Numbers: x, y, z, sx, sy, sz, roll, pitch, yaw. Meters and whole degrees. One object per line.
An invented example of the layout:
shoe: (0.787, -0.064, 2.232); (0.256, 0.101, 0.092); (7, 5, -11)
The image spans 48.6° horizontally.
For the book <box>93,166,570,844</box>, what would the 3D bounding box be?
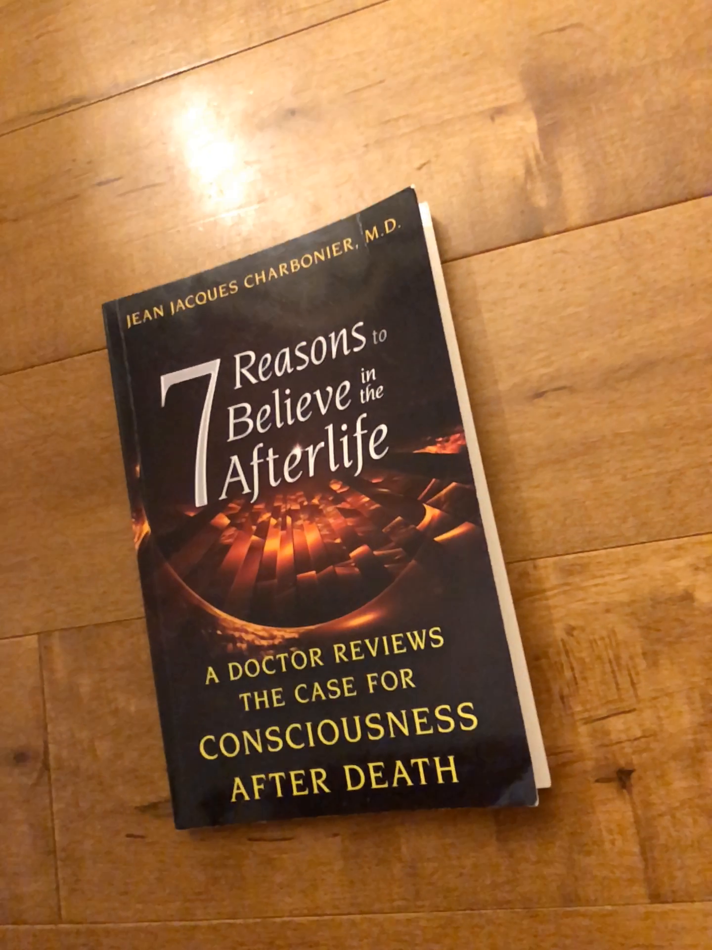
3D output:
book: (-0.022, 0.019, 0.340); (0.170, 0.030, 0.250); (-14, 80, 22)
